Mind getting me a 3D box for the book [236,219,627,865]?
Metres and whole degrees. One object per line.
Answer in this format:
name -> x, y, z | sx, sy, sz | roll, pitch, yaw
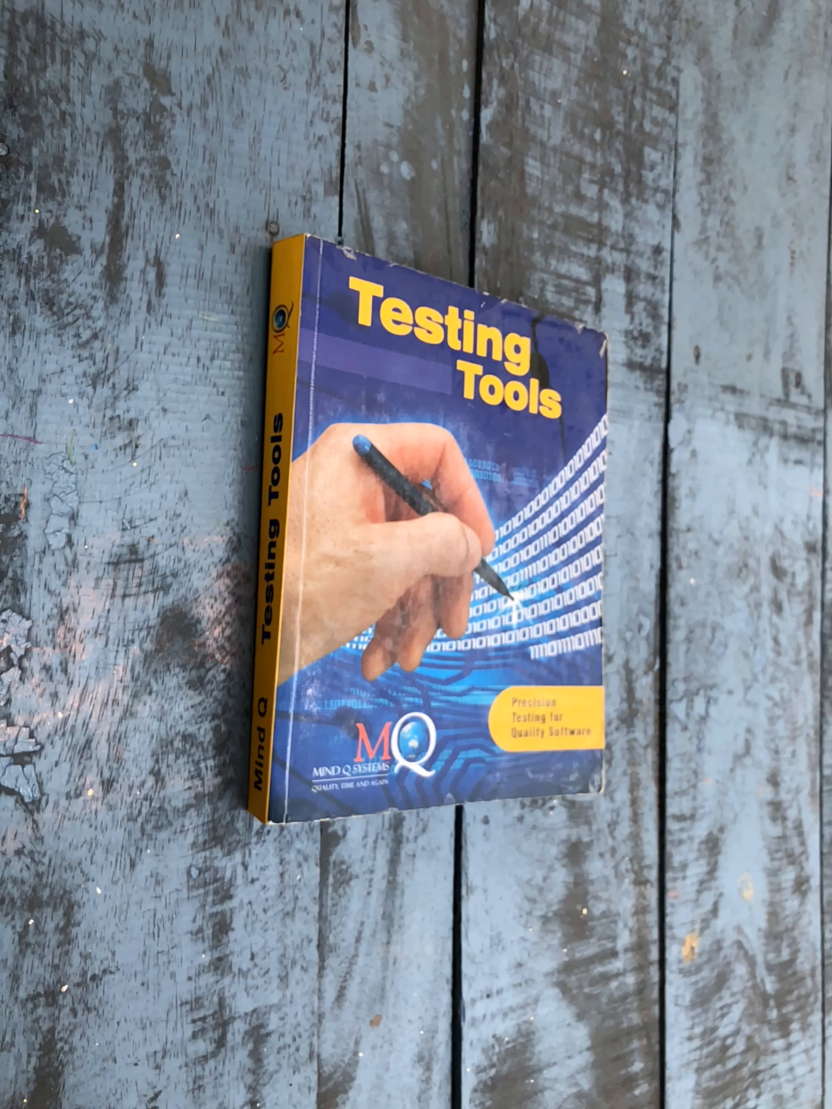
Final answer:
book -> 0.017, -0.001, 0.447 | 0.191, 0.050, 0.260 | 5, 85, -35
